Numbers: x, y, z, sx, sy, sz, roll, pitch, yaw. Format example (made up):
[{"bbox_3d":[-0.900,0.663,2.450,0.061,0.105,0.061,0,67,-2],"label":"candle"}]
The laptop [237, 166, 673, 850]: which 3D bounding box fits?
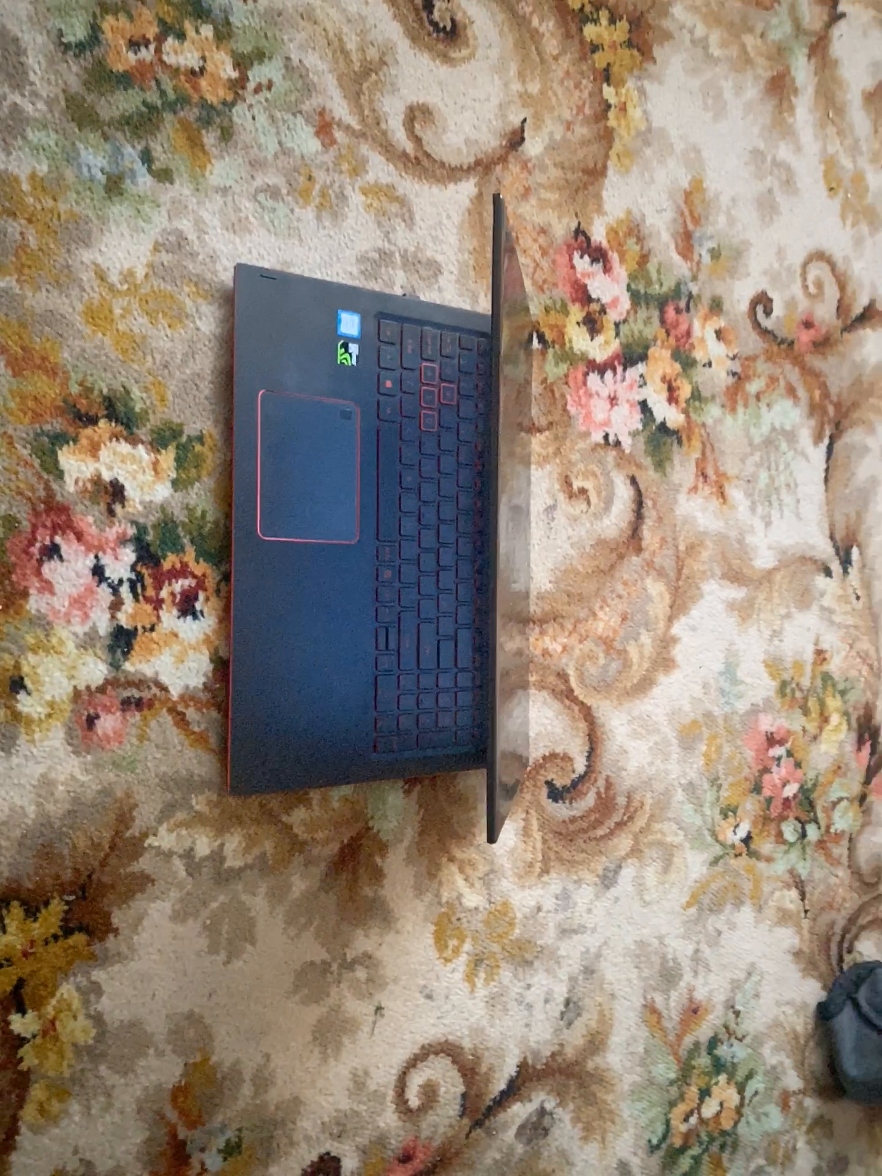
[{"bbox_3d":[0.004,-0.039,0.597,0.225,0.172,0.356,1,89,-29],"label":"laptop"}]
